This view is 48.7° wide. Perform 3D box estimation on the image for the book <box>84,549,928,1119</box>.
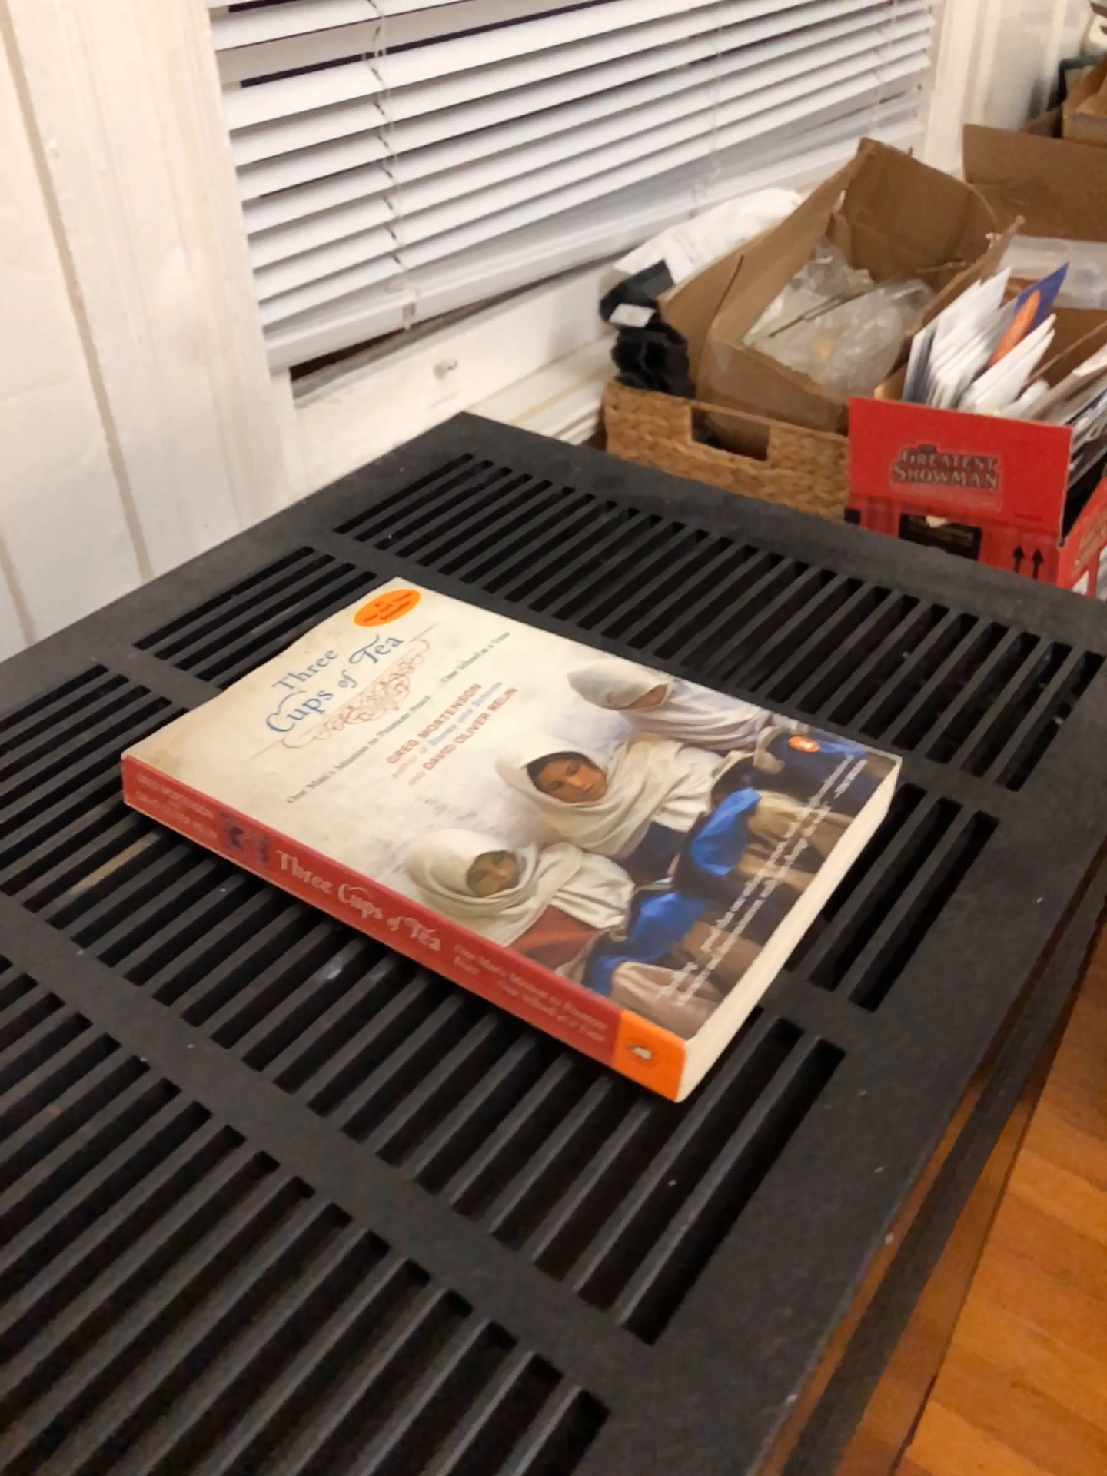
[{"bbox_3d":[-0.015,0.010,0.386,0.220,0.030,0.141,20,43,27],"label":"book"}]
